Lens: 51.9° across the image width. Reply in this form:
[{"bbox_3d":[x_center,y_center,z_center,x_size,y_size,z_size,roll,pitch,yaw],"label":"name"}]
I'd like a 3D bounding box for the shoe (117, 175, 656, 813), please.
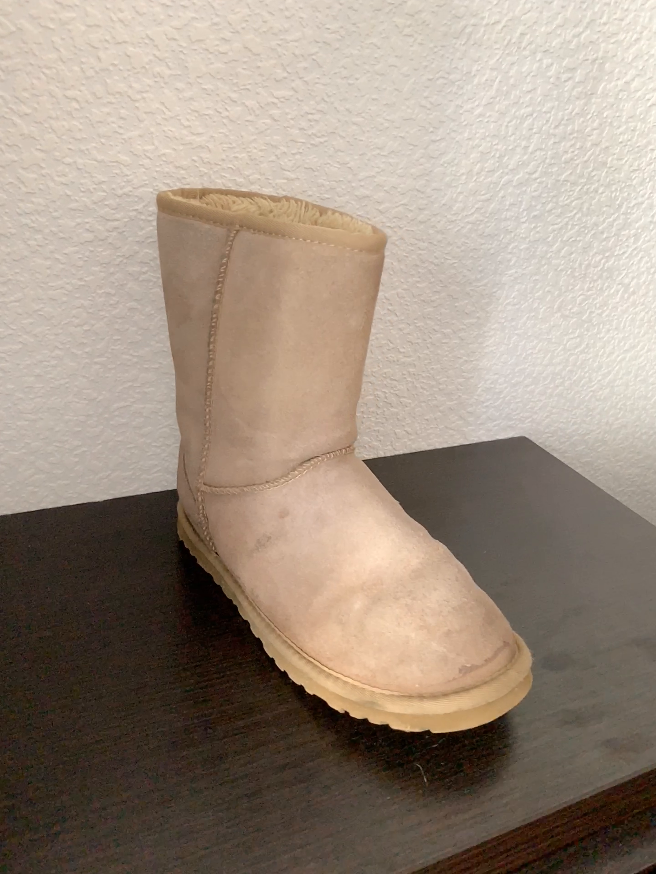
[{"bbox_3d":[0.008,-0.004,0.362,0.116,0.229,0.261,-18,33,-38],"label":"shoe"}]
